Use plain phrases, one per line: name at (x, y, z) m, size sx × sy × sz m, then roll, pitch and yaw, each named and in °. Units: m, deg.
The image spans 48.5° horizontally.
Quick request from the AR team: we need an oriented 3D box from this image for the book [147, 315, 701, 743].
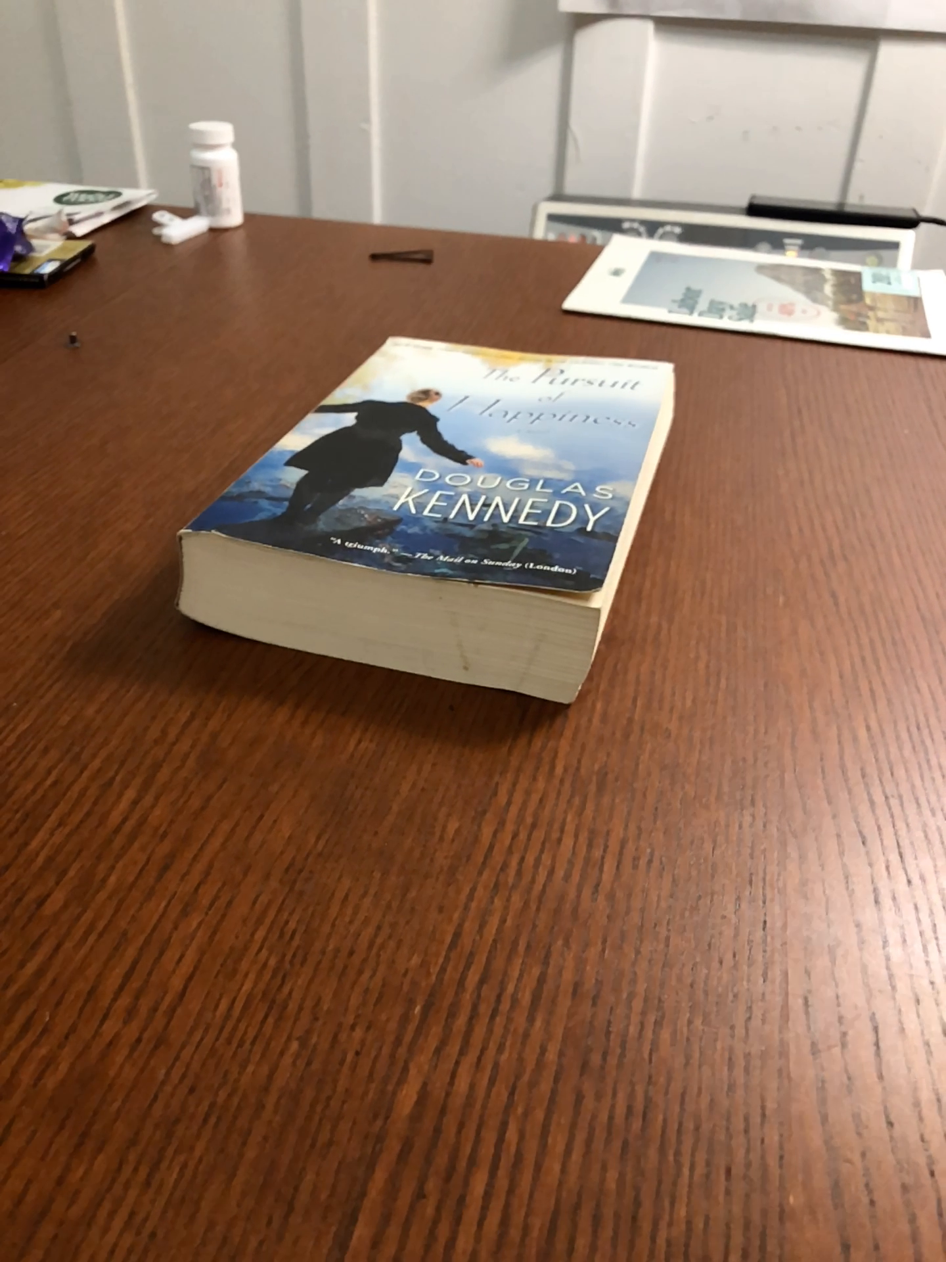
book at (0.001, -0.063, 0.436) m, size 0.160 × 0.050 × 0.241 m, roll 10°, pitch 35°, yaw 11°
